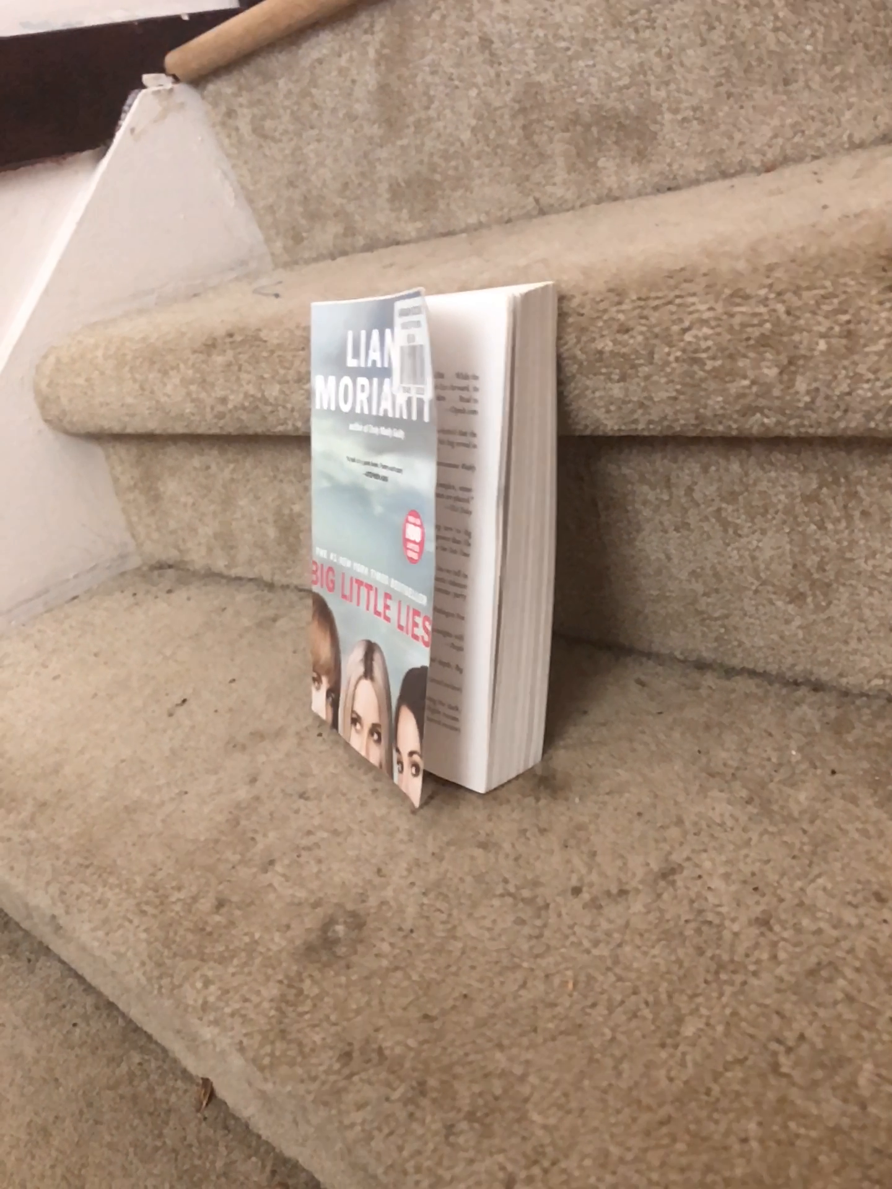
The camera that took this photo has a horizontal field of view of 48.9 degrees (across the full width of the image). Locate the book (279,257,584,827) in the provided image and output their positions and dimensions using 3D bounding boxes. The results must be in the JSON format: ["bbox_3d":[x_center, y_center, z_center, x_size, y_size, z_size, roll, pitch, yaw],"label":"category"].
[{"bbox_3d":[-0.017,-0.031,0.435,0.050,0.209,0.161,-6,15,-33],"label":"book"}]
